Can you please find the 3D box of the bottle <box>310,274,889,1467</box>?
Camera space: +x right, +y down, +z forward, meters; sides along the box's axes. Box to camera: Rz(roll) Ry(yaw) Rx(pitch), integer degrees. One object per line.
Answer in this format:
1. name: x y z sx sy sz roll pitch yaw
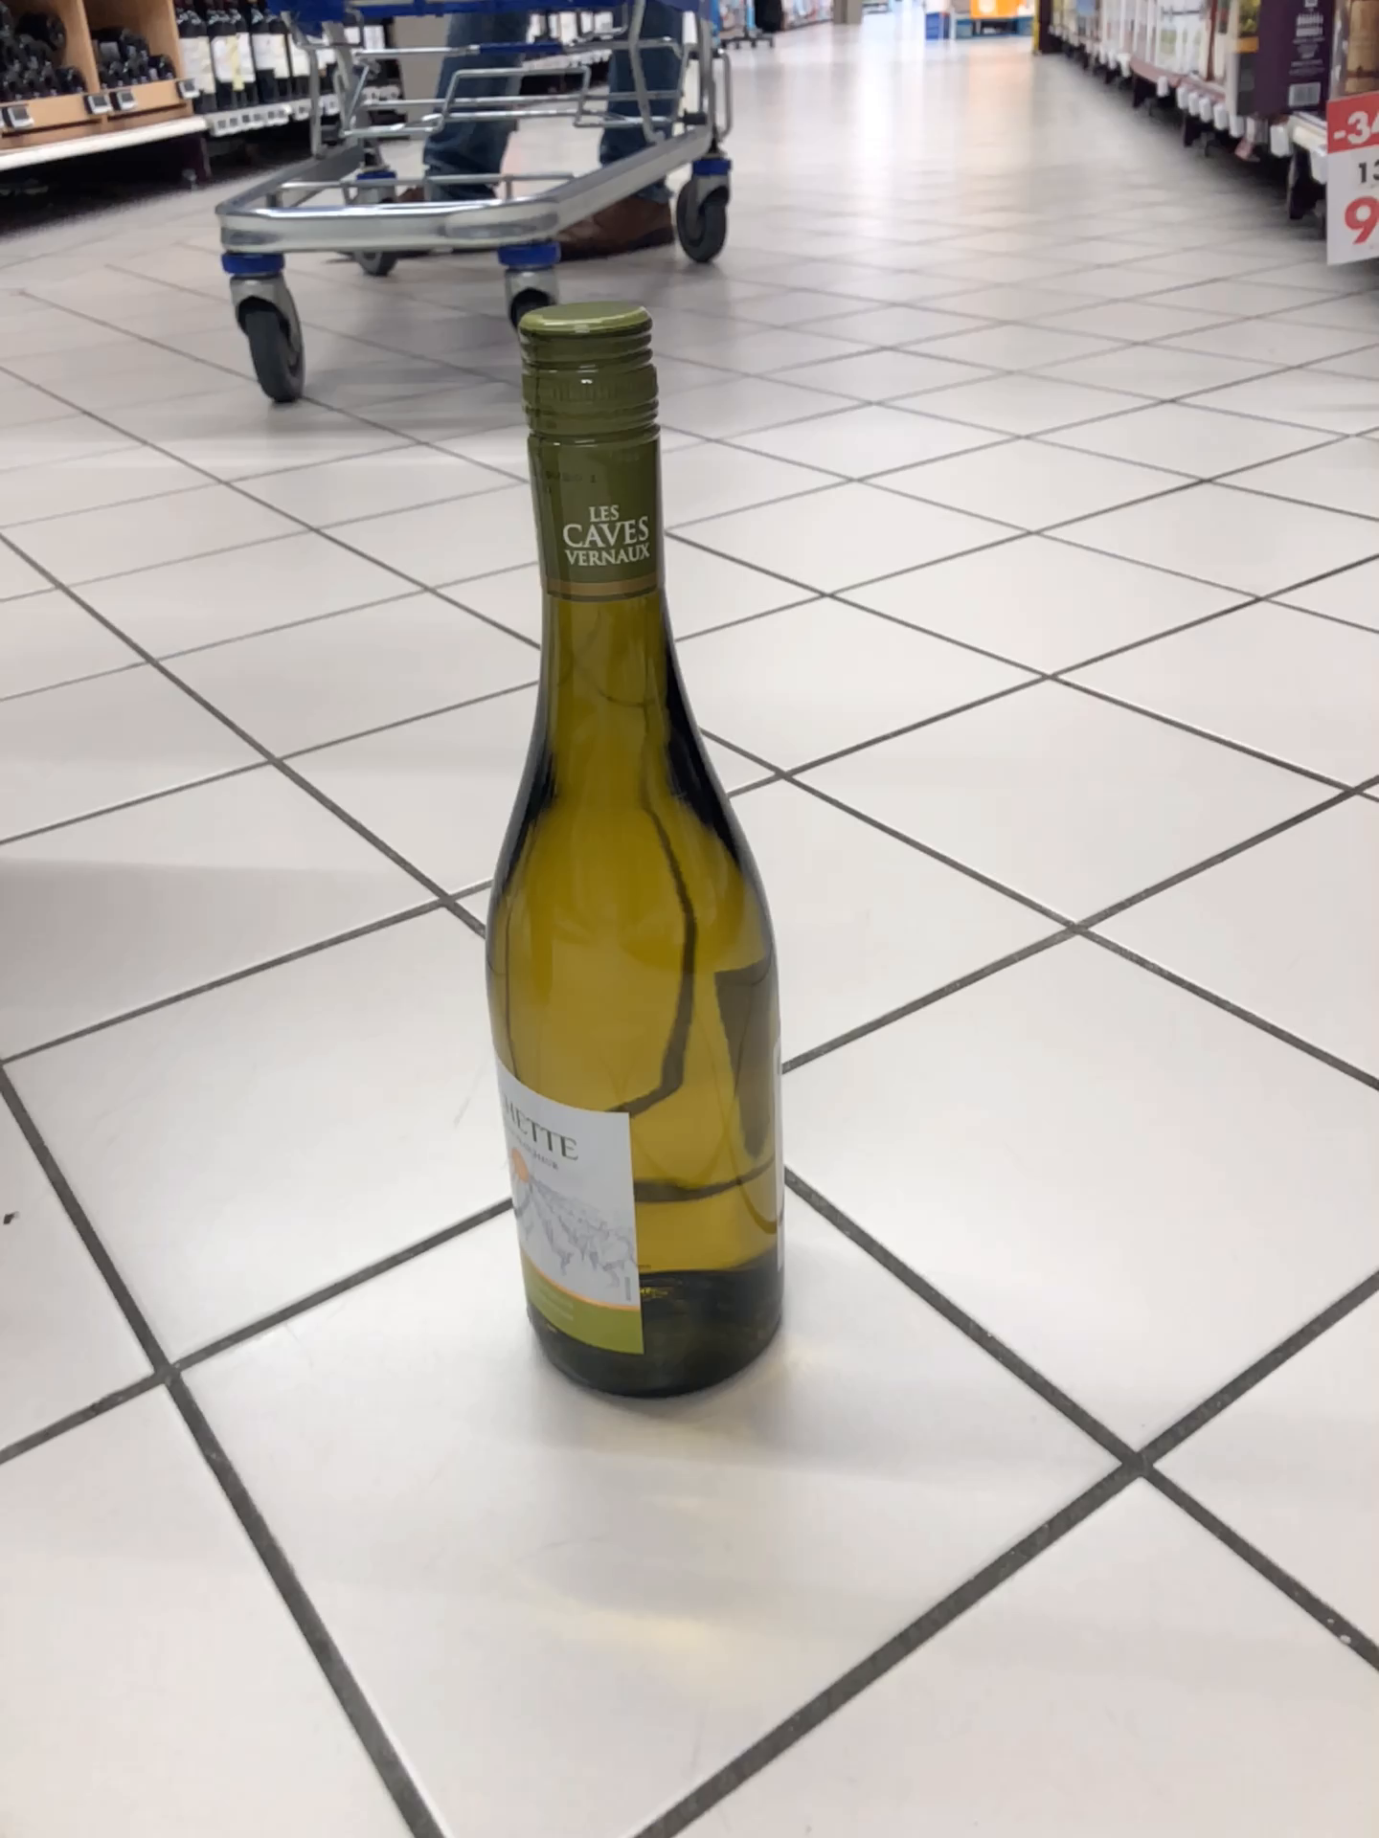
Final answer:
1. bottle: -0.015 -0.006 0.388 0.090 0.278 0.090 -2 30 1
